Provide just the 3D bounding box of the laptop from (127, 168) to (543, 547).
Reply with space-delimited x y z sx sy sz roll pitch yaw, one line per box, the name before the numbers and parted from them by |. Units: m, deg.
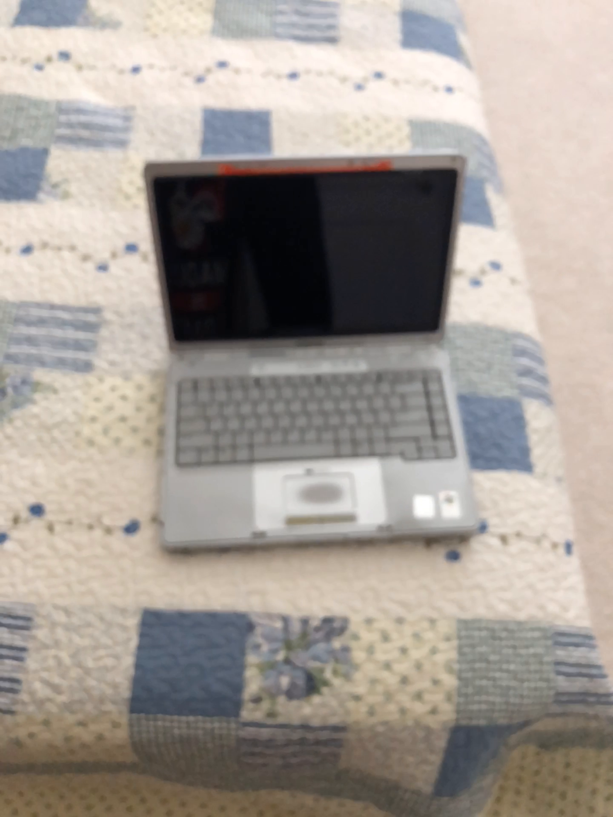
laptop | 0.010 -0.054 0.704 0.322 0.193 0.327 -3 60 -3
